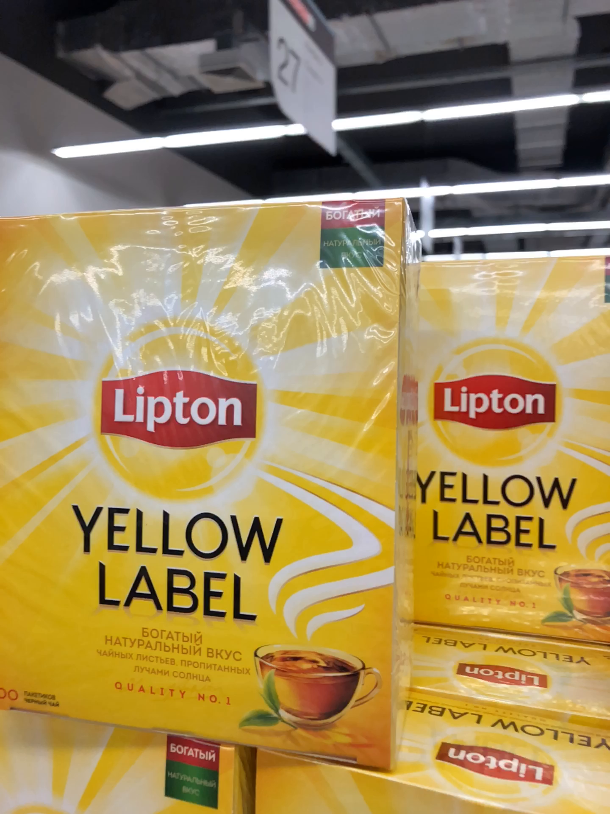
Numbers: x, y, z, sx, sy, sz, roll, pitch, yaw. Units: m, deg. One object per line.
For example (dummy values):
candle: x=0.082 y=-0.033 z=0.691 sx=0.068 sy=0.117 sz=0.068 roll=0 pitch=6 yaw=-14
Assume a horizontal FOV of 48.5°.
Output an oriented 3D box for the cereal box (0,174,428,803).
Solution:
cereal box: x=-0.033 y=0.020 z=0.235 sx=0.140 sy=0.170 sz=0.070 roll=1 pitch=1 yaw=15
